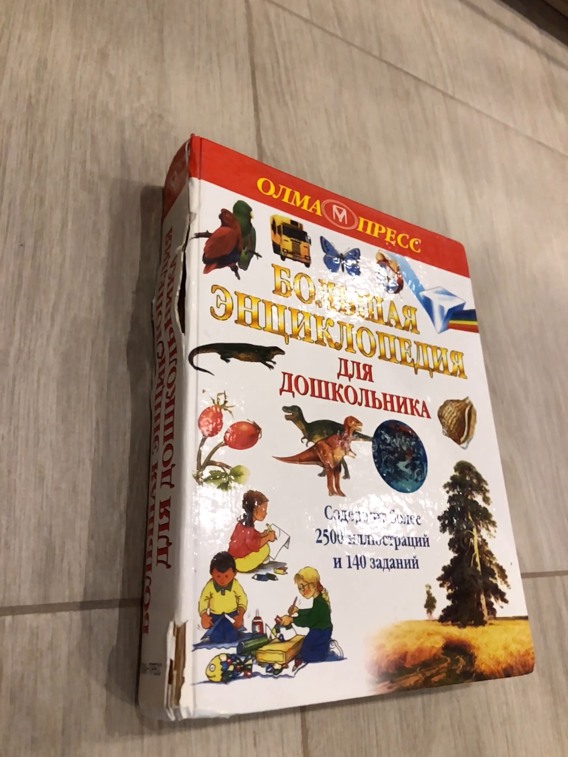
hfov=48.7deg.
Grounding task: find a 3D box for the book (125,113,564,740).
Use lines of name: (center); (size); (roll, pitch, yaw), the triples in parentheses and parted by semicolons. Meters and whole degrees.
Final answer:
book: (0.036, 0.023, 0.348); (0.216, 0.060, 0.281); (12, 64, -31)
